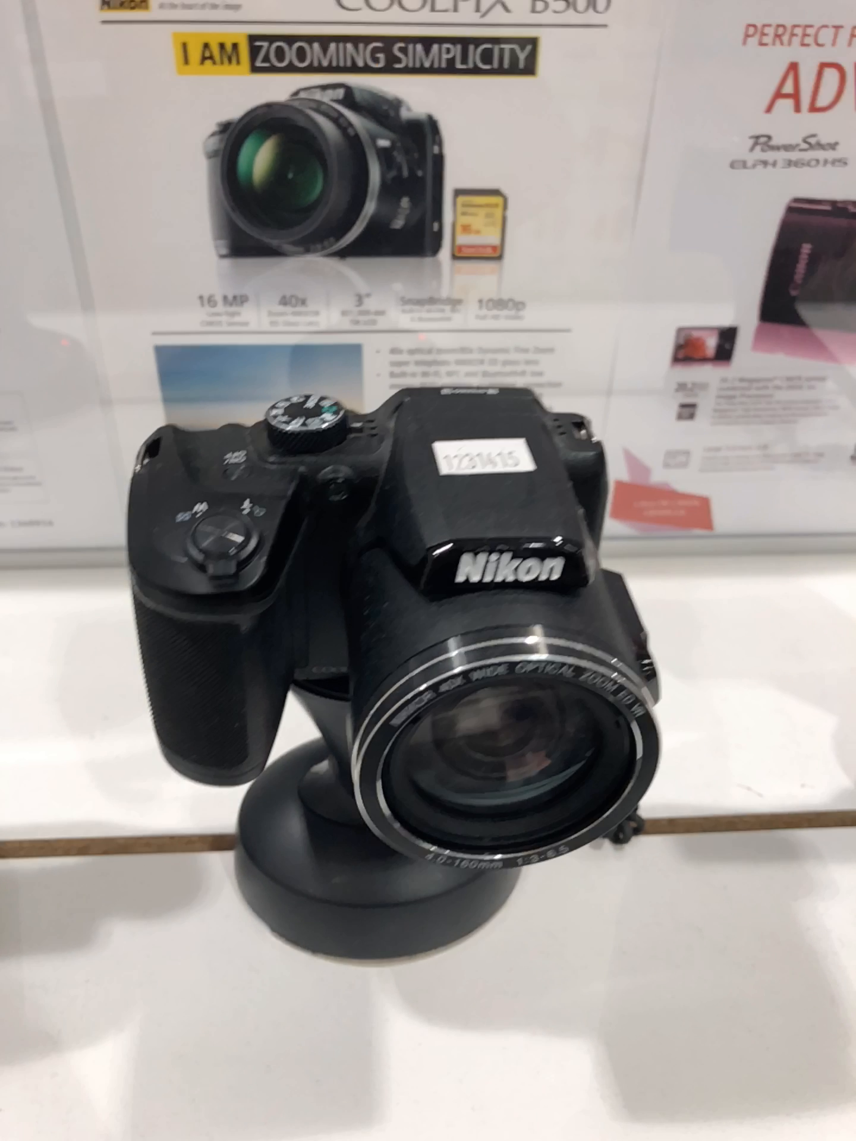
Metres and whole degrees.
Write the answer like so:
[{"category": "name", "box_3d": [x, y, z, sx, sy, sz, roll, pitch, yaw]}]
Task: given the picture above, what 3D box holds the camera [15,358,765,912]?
[{"category": "camera", "box_3d": [-0.009, 0.007, 0.214, 0.120, 0.070, 0.100, -2, 37, -5]}]
